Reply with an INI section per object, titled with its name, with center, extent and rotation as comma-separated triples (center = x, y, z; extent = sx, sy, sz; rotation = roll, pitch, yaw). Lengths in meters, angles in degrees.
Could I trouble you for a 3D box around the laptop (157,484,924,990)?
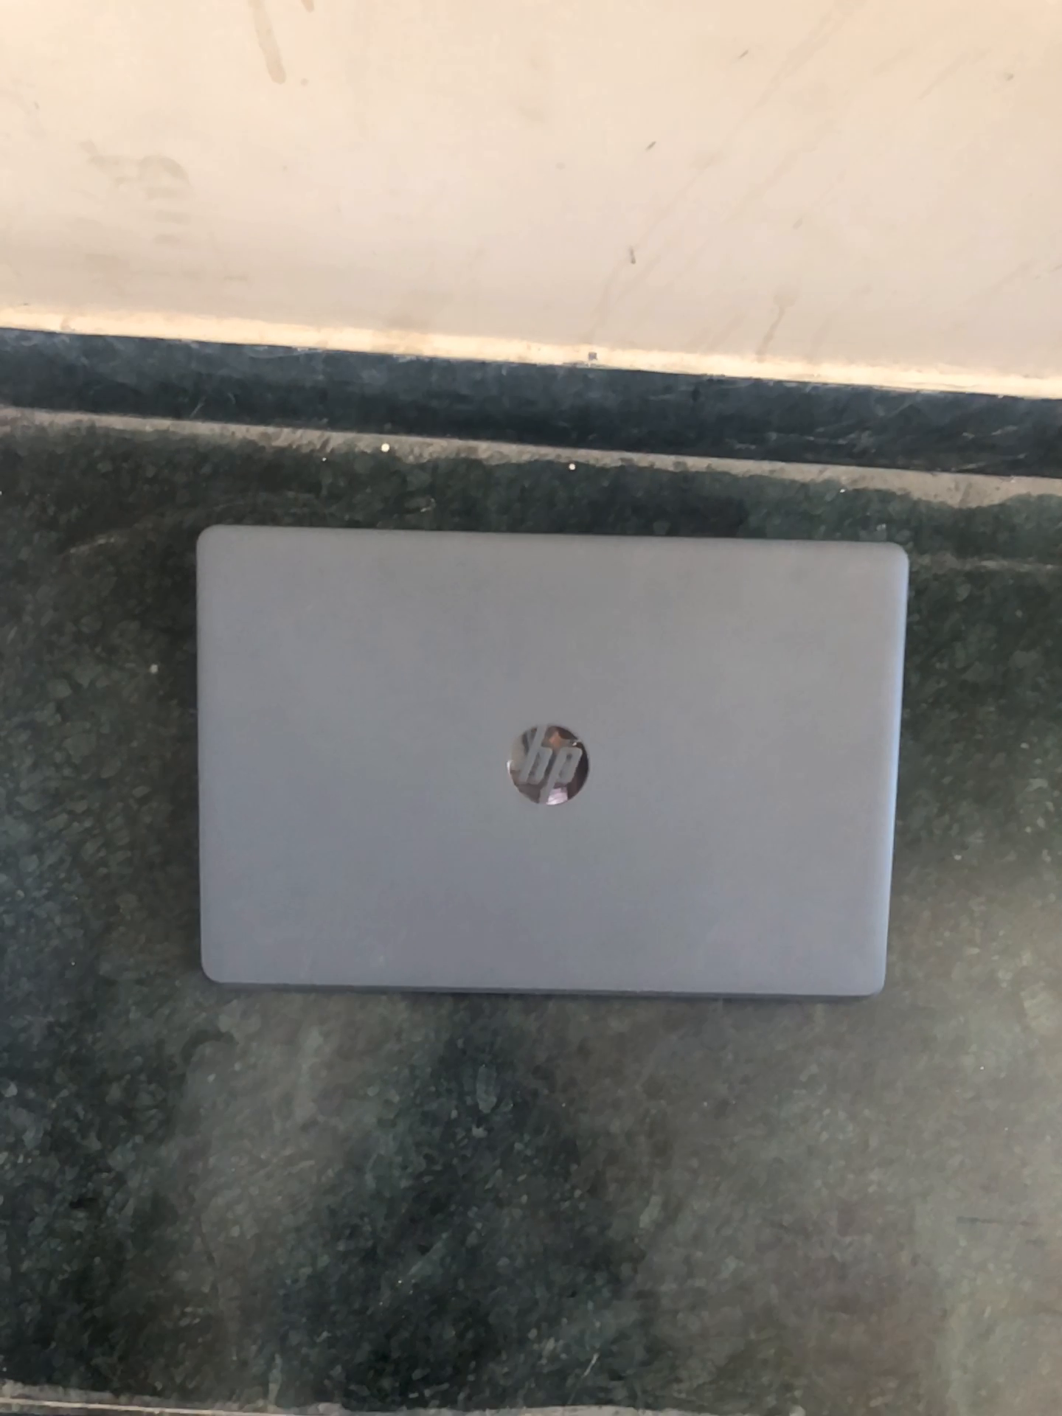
[laptop]
center = 0.007, 0.020, 0.615
extent = 0.357, 0.092, 0.243
rotation = 1, 77, -1
